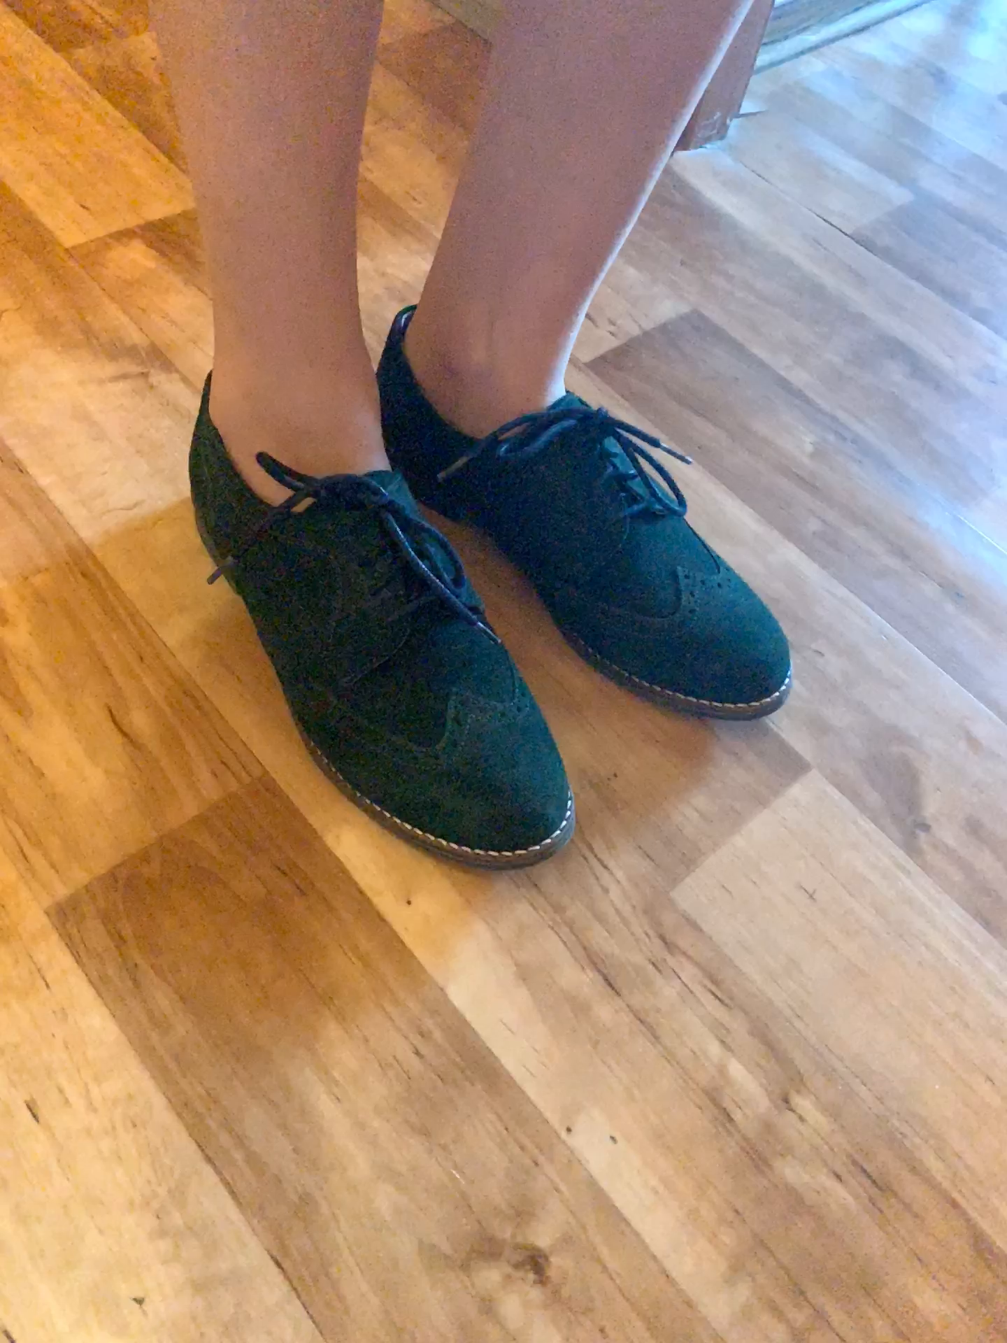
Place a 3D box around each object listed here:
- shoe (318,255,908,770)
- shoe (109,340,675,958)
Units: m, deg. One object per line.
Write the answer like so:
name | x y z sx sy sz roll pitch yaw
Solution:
shoe | 0.040 -0.081 0.482 0.250 0.080 0.100 36 58 15
shoe | -0.058 -0.020 0.443 0.090 0.080 0.260 -30 66 -27
